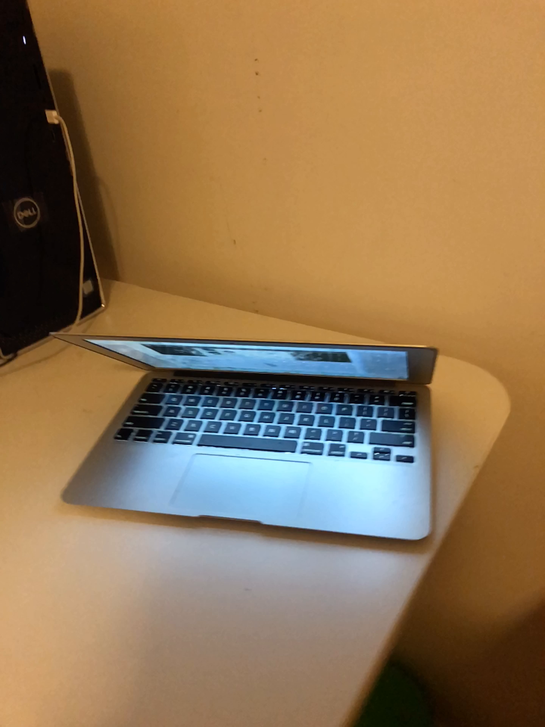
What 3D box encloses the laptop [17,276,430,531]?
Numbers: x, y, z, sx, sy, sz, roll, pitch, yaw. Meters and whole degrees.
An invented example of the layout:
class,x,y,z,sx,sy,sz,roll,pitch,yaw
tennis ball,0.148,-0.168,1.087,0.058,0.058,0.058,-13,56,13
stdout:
class,x,y,z,sx,sy,sz,roll,pitch,yaw
laptop,-0.017,0.019,0.504,0.285,0.108,0.182,3,33,11
